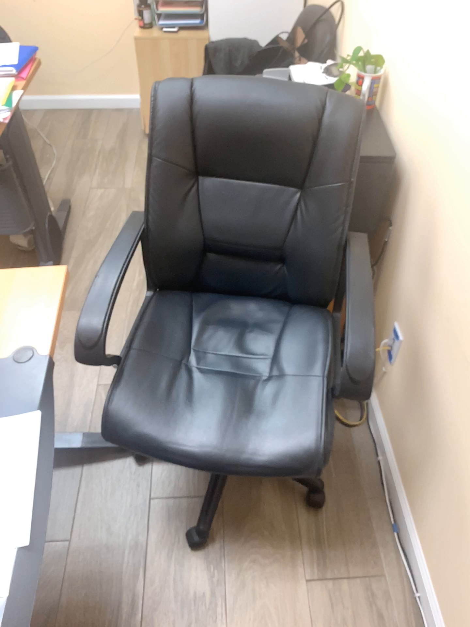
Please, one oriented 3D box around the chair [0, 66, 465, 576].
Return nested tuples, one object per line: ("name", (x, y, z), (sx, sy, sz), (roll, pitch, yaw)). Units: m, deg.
("chair", (-0.009, 0.063, 1.132), (0.620, 0.947, 0.665), (7, 47, 5))
